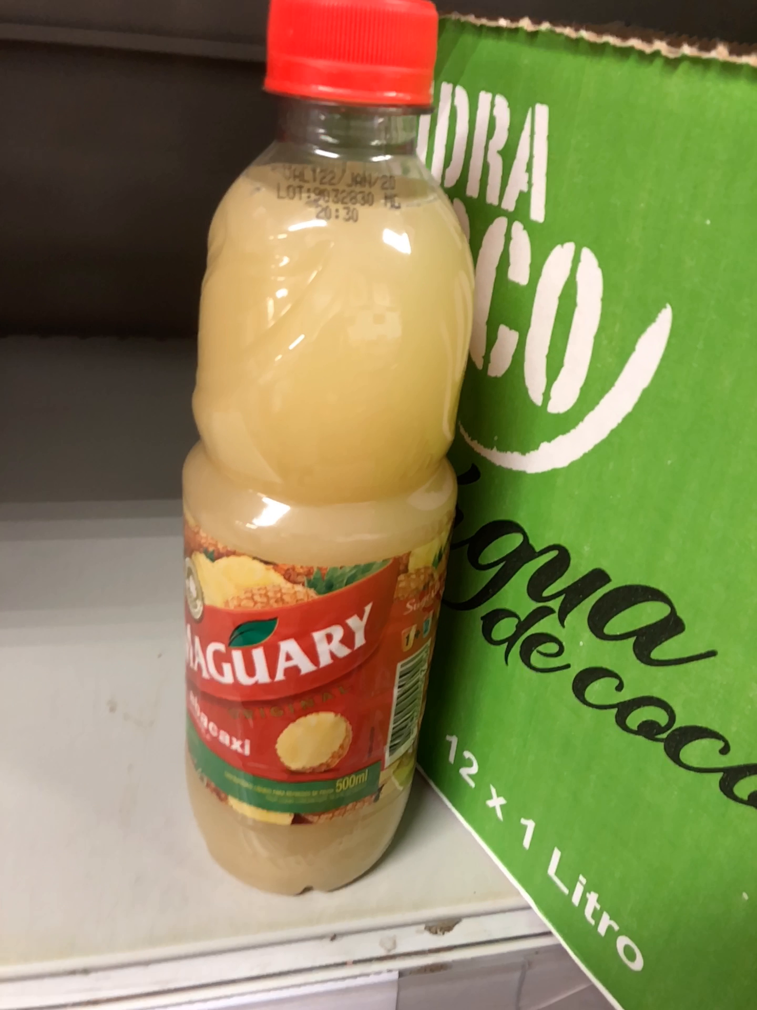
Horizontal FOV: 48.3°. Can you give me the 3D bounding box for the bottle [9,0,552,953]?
[{"bbox_3d":[-0.023,0.001,0.198,0.070,0.208,0.060,21,34,23],"label":"bottle"}]
